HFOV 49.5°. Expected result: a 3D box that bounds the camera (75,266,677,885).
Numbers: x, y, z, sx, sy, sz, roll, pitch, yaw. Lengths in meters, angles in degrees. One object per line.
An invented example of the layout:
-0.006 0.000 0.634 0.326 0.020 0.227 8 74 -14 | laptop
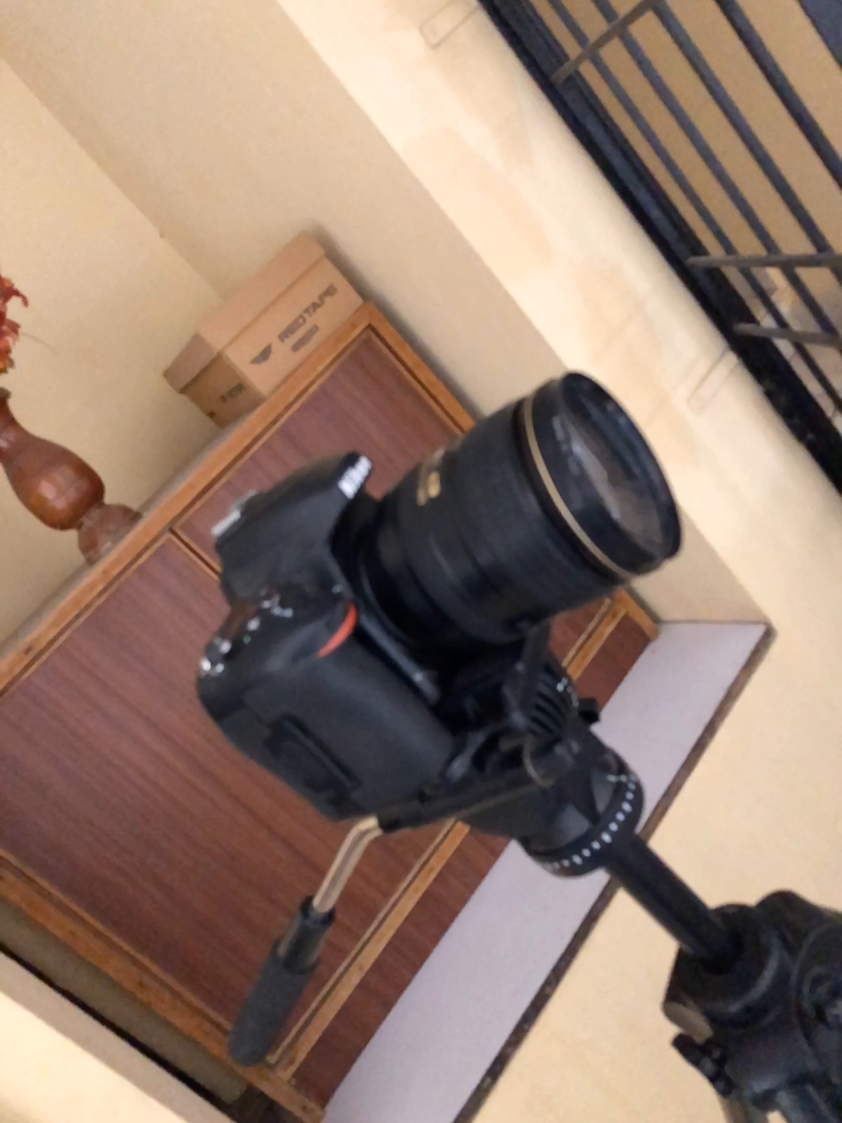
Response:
-0.007 0.004 0.361 0.171 0.105 0.171 -32 20 34 | camera
